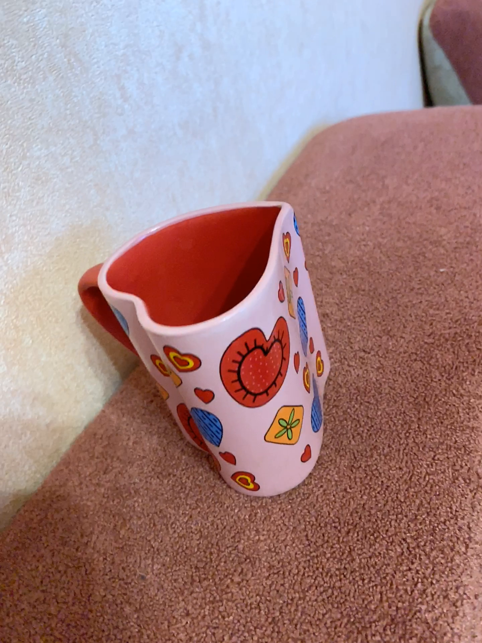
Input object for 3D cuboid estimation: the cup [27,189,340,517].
[{"bbox_3d":[-0.009,0.015,0.204,0.082,0.091,0.085,-13,37,10],"label":"cup"}]
